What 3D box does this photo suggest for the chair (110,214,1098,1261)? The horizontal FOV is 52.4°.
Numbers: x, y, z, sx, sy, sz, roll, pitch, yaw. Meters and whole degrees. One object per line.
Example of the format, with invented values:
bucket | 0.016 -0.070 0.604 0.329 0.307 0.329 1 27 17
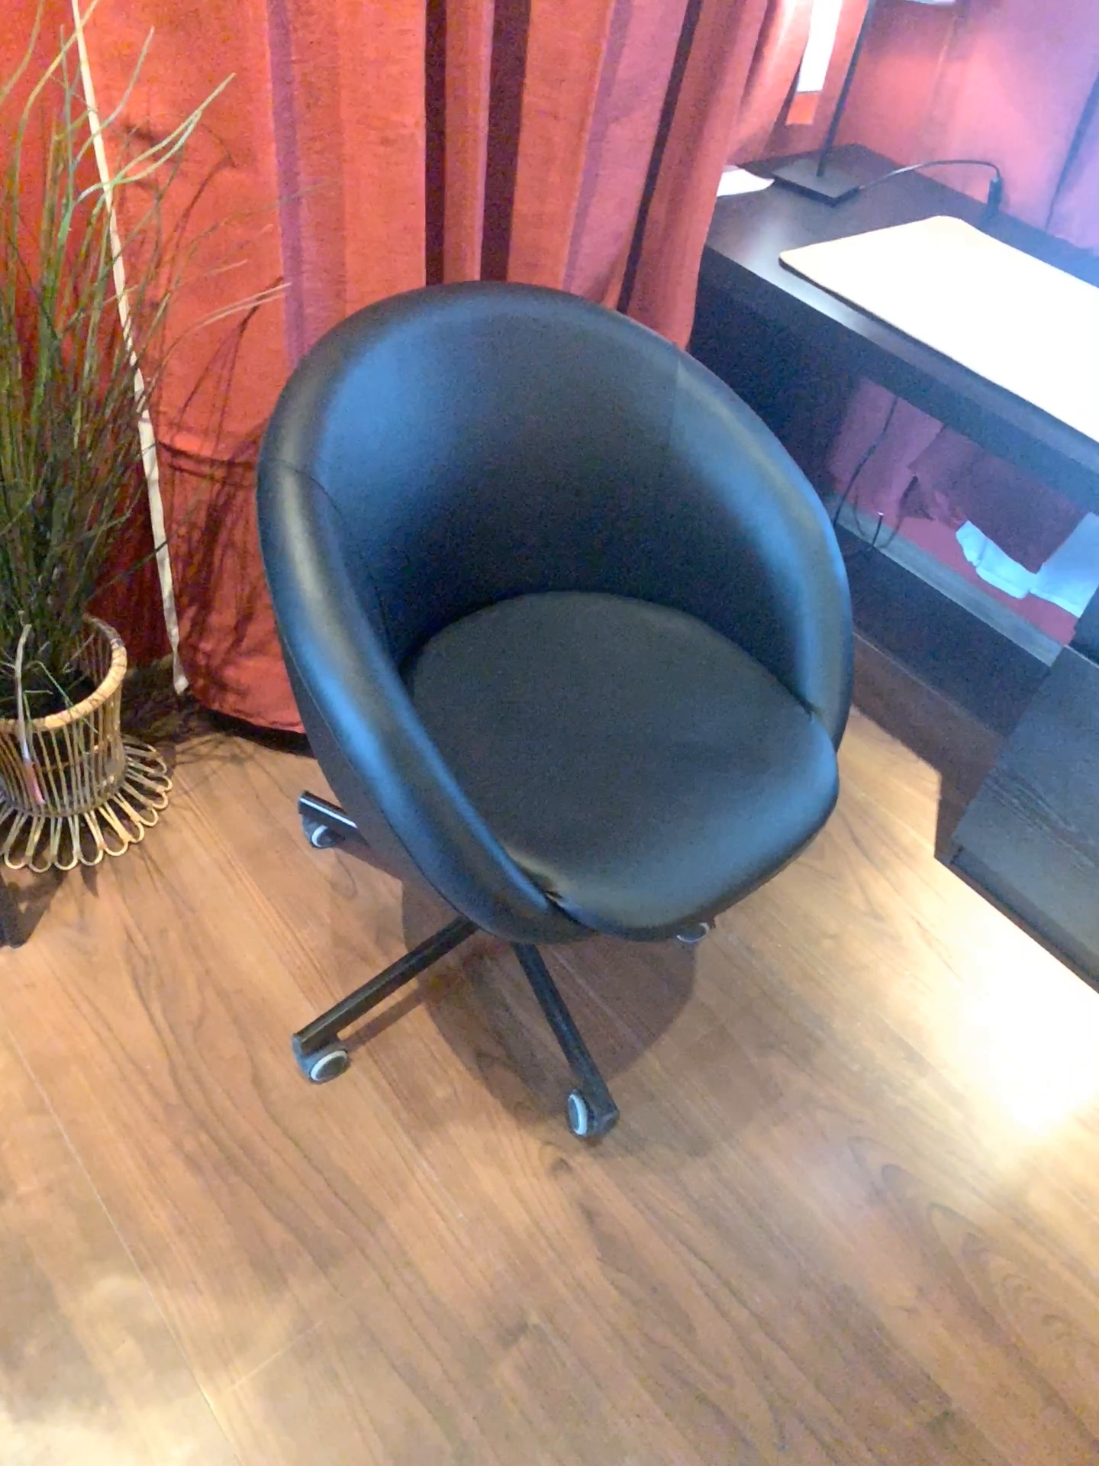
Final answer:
chair | 0.031 -0.020 1.166 0.581 0.697 0.622 37 50 23
